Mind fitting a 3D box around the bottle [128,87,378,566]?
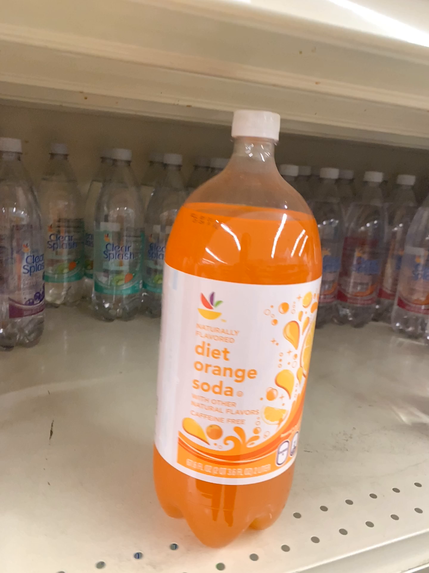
[{"bbox_3d":[0.006,0.029,0.314,0.120,0.289,0.110,5,16,-1],"label":"bottle"}]
